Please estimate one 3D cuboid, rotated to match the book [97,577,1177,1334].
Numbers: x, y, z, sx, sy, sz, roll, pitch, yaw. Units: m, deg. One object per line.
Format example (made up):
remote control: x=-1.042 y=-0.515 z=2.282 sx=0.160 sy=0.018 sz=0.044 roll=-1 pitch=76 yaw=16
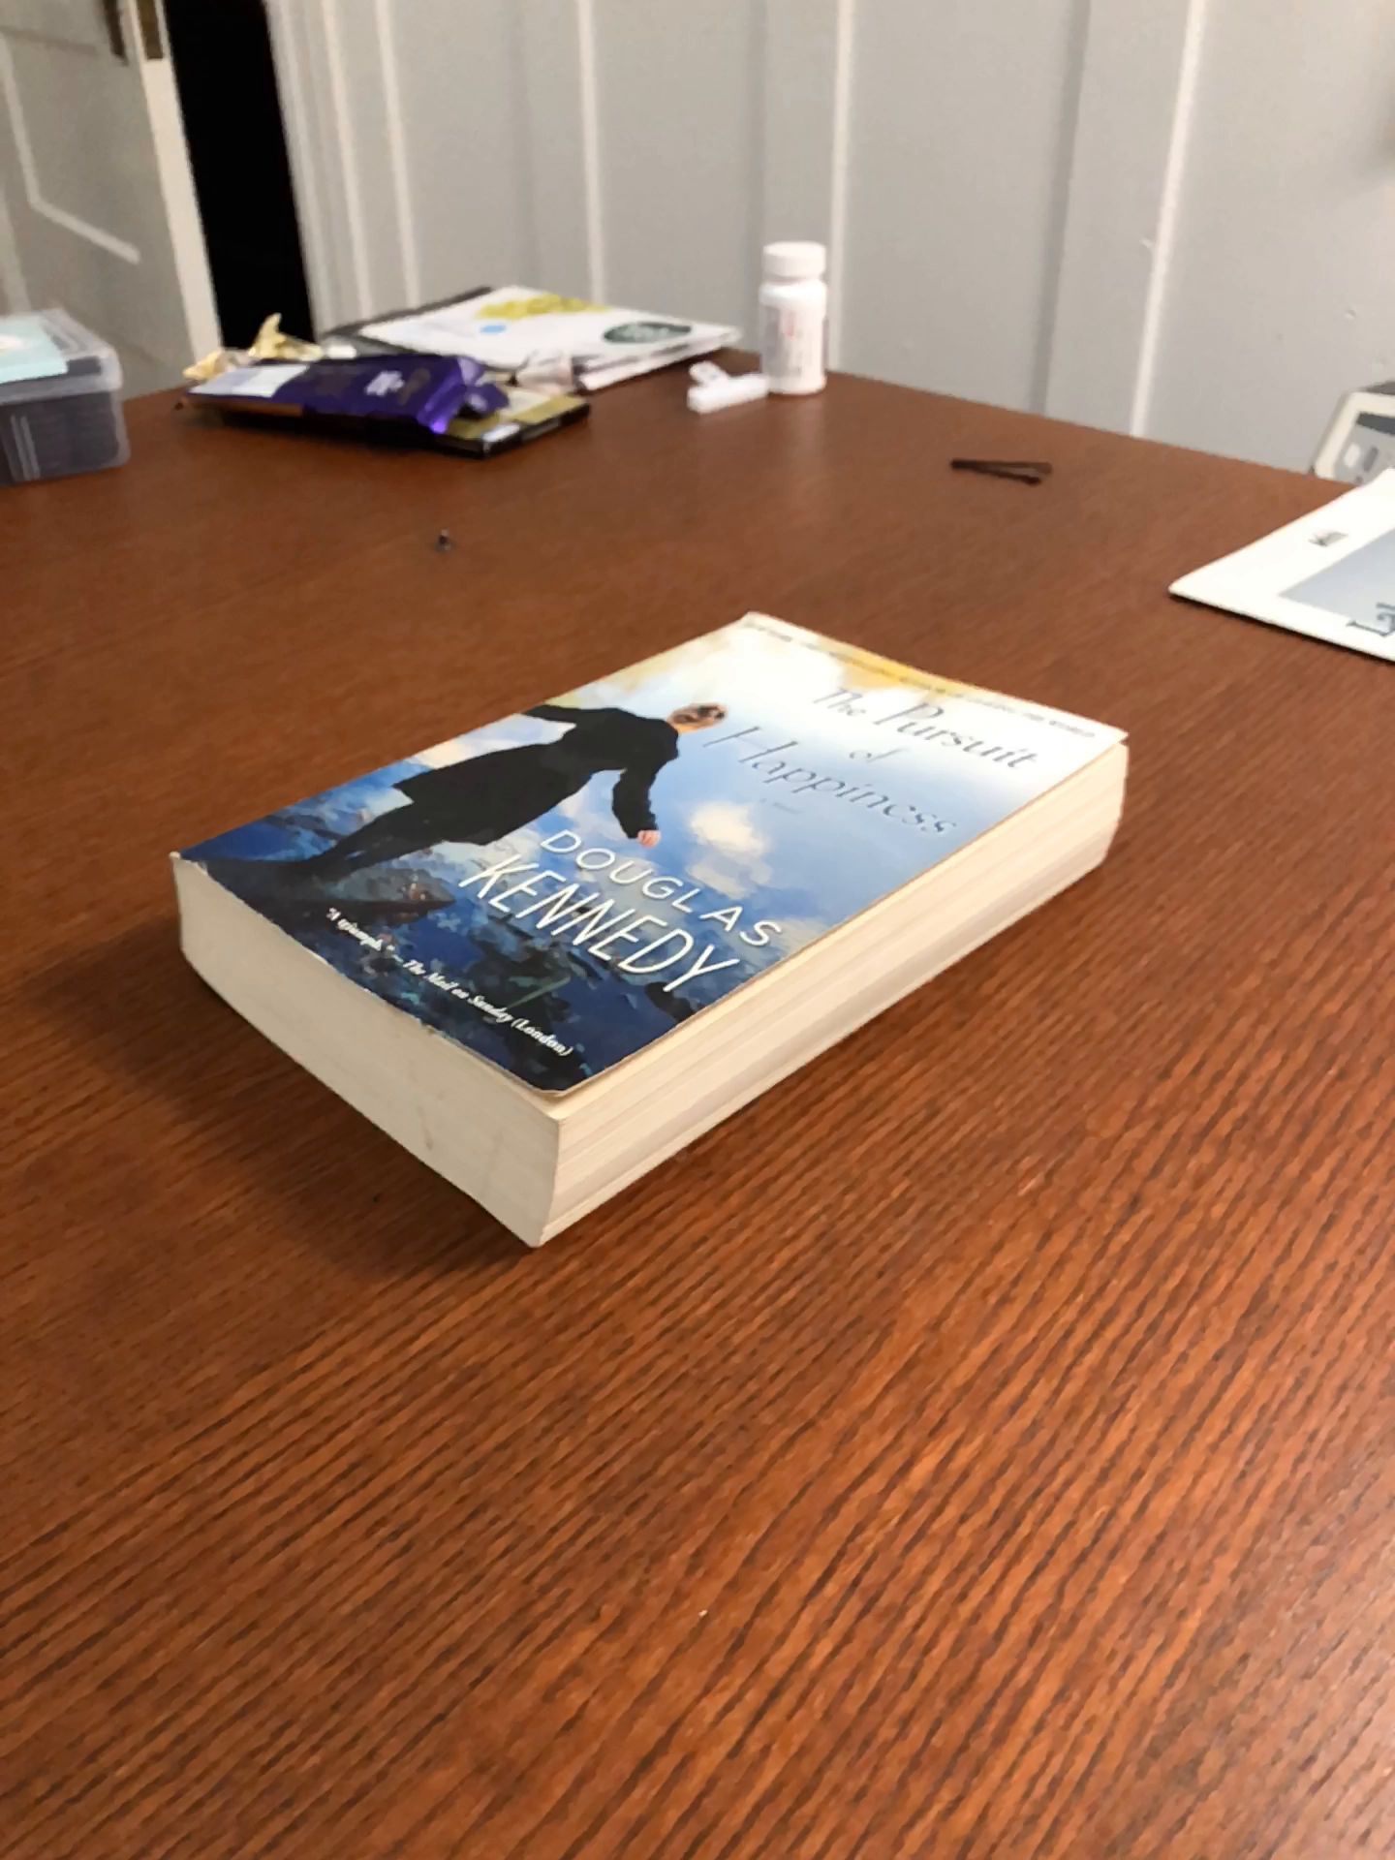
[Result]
book: x=-0.007 y=-0.019 z=0.420 sx=0.160 sy=0.050 sz=0.241 roll=28 pitch=43 yaw=35
